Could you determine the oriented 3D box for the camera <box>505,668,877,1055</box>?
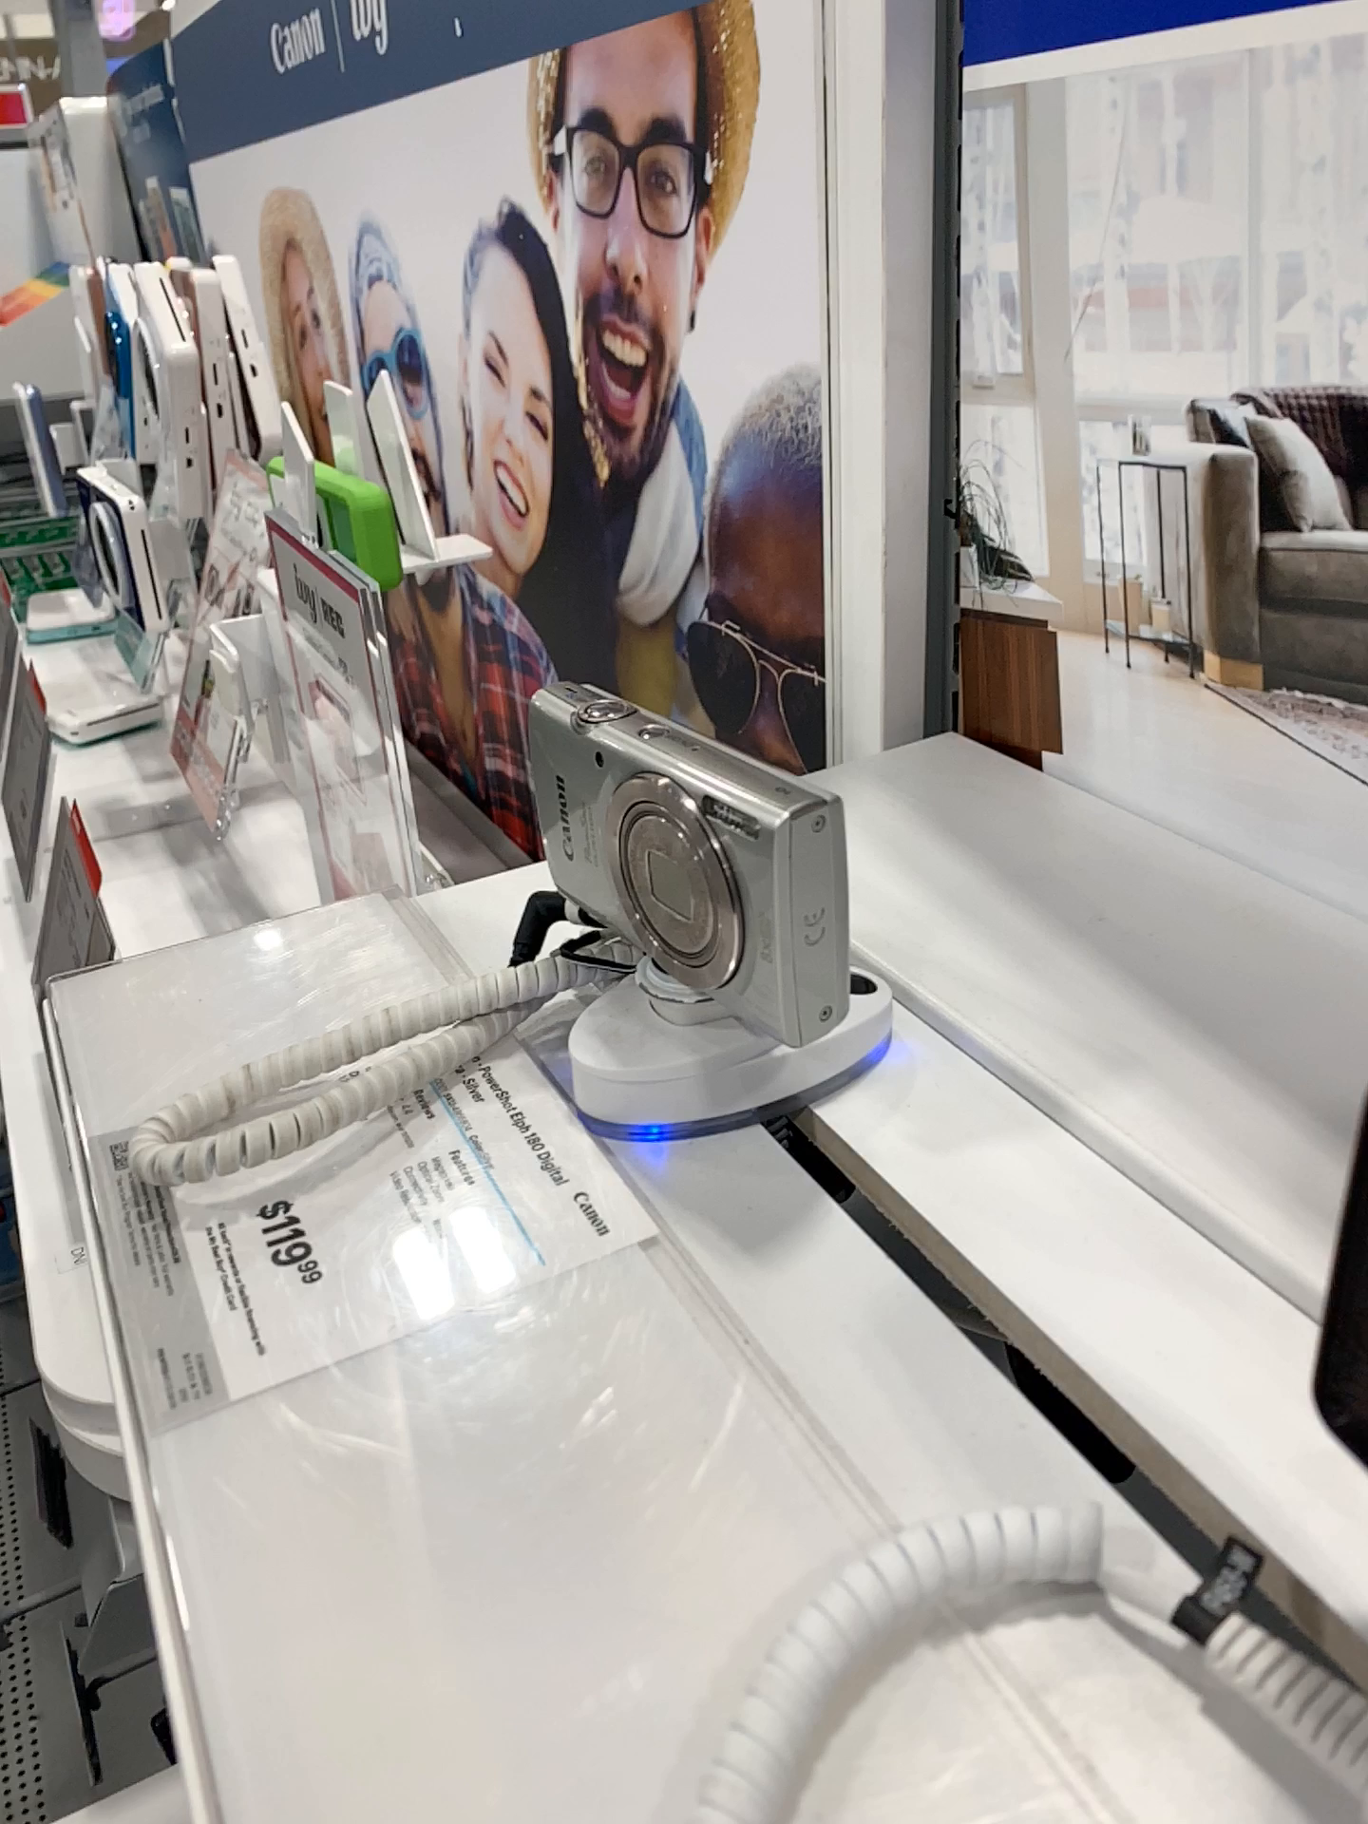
[{"bbox_3d":[-0.001,-0.015,0.308,0.022,0.051,0.099,-26,34,-25],"label":"camera"}]
